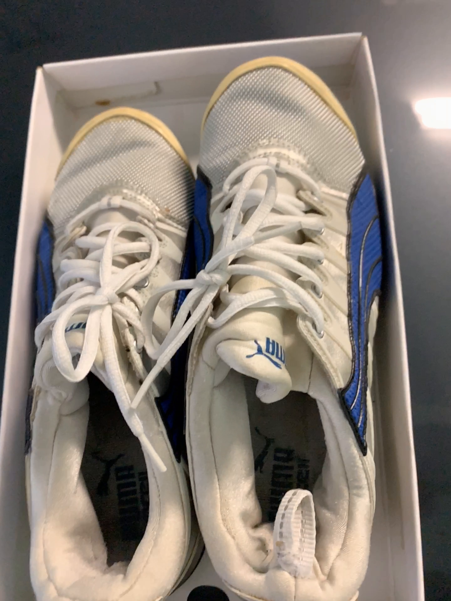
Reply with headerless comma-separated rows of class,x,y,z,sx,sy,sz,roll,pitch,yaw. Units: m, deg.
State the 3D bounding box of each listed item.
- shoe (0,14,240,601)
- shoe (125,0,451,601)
shoe,-0.057,0.000,0.240,0.110,0.089,0.282,-4,68,5
shoe,0.033,-0.009,0.229,0.110,0.089,0.282,-1,68,7
